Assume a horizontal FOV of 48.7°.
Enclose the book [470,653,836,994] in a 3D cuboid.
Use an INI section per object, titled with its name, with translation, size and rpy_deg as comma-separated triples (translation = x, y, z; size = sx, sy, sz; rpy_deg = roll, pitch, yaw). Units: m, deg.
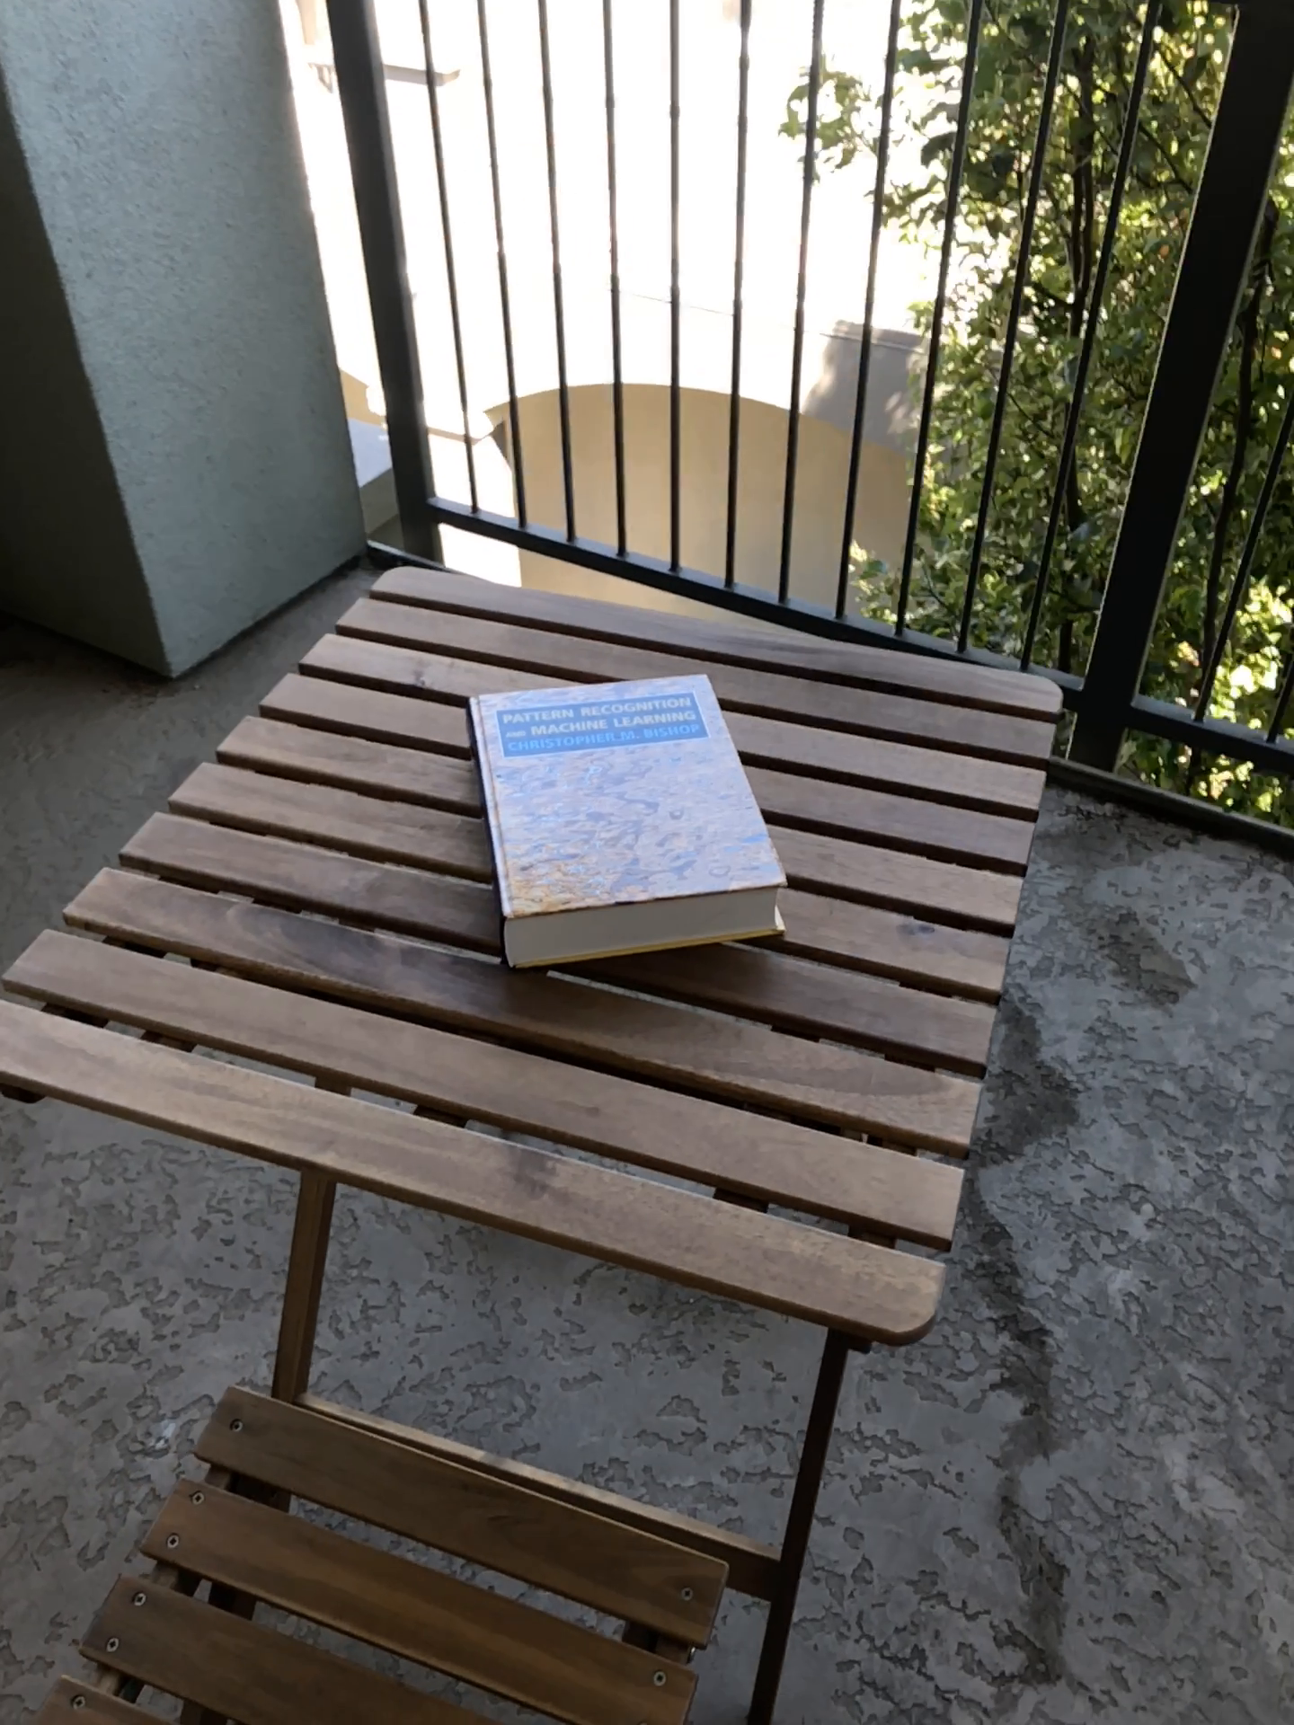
[book]
translation = -0.006, -0.036, 0.923
size = 0.190, 0.050, 0.251
rpy_deg = -7, 42, -7
